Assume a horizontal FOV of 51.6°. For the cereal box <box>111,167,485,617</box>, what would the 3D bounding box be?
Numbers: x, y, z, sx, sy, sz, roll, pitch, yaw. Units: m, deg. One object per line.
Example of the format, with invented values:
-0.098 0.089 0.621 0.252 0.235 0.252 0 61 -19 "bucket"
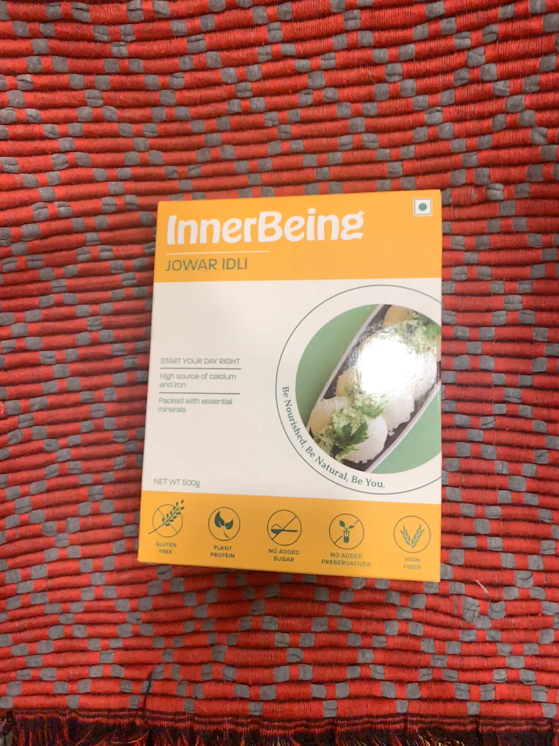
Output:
0.010 0.009 0.284 0.150 0.070 0.190 -1 79 7 "cereal box"
